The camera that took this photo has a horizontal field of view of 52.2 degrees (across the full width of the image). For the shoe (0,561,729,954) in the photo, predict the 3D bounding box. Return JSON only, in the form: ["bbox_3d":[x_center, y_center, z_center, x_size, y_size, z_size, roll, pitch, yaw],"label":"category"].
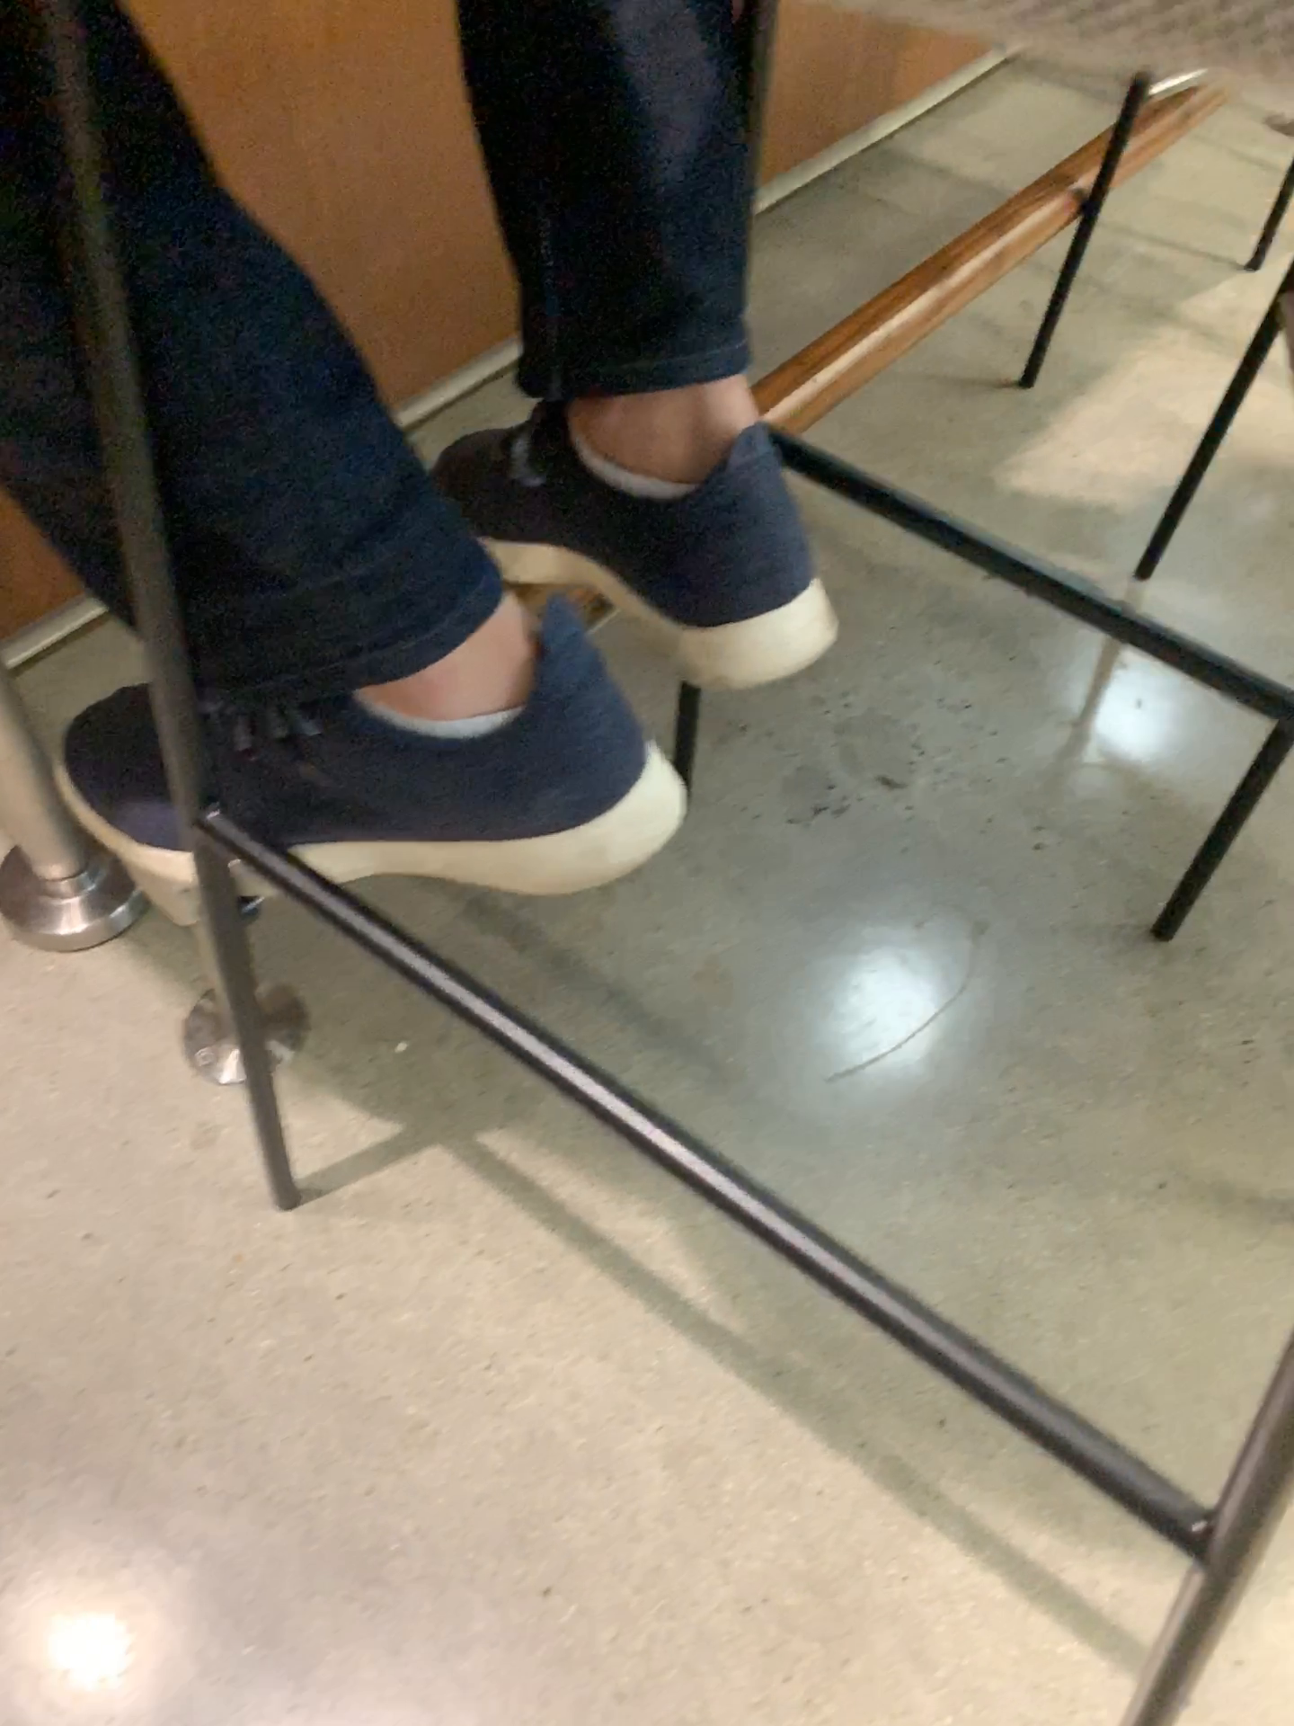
[{"bbox_3d":[-0.128,-0.055,0.581,0.299,0.093,0.124,6,46,18],"label":"shoe"}]

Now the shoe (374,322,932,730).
[{"bbox_3d":[-0.009,-0.195,0.708,0.129,0.093,0.301,-27,44,-28],"label":"shoe"}]
